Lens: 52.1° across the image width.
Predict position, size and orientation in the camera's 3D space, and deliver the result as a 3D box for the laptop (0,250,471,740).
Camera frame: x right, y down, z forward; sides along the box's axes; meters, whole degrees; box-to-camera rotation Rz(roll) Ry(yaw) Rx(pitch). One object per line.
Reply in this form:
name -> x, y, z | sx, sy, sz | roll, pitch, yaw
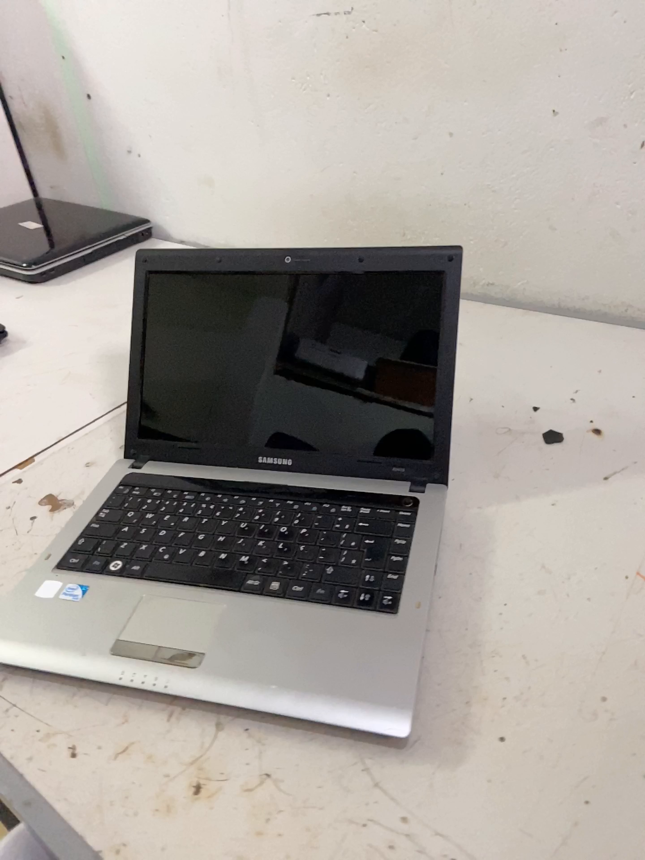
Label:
laptop -> -0.069, 0.003, 0.538 | 0.334, 0.172, 0.364 | 4, 36, 16
